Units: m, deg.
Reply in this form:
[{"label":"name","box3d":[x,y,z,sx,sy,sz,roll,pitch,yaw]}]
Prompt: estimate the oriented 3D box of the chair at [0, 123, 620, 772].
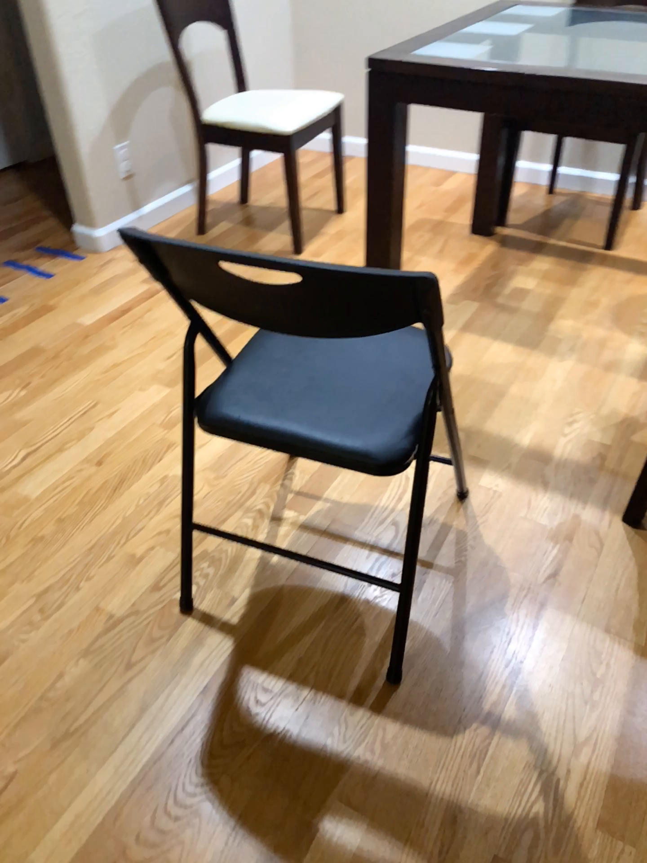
[{"label":"chair","box3d":[0.044,-0.038,1.161,0.611,0.656,0.683,15,42,20]}]
